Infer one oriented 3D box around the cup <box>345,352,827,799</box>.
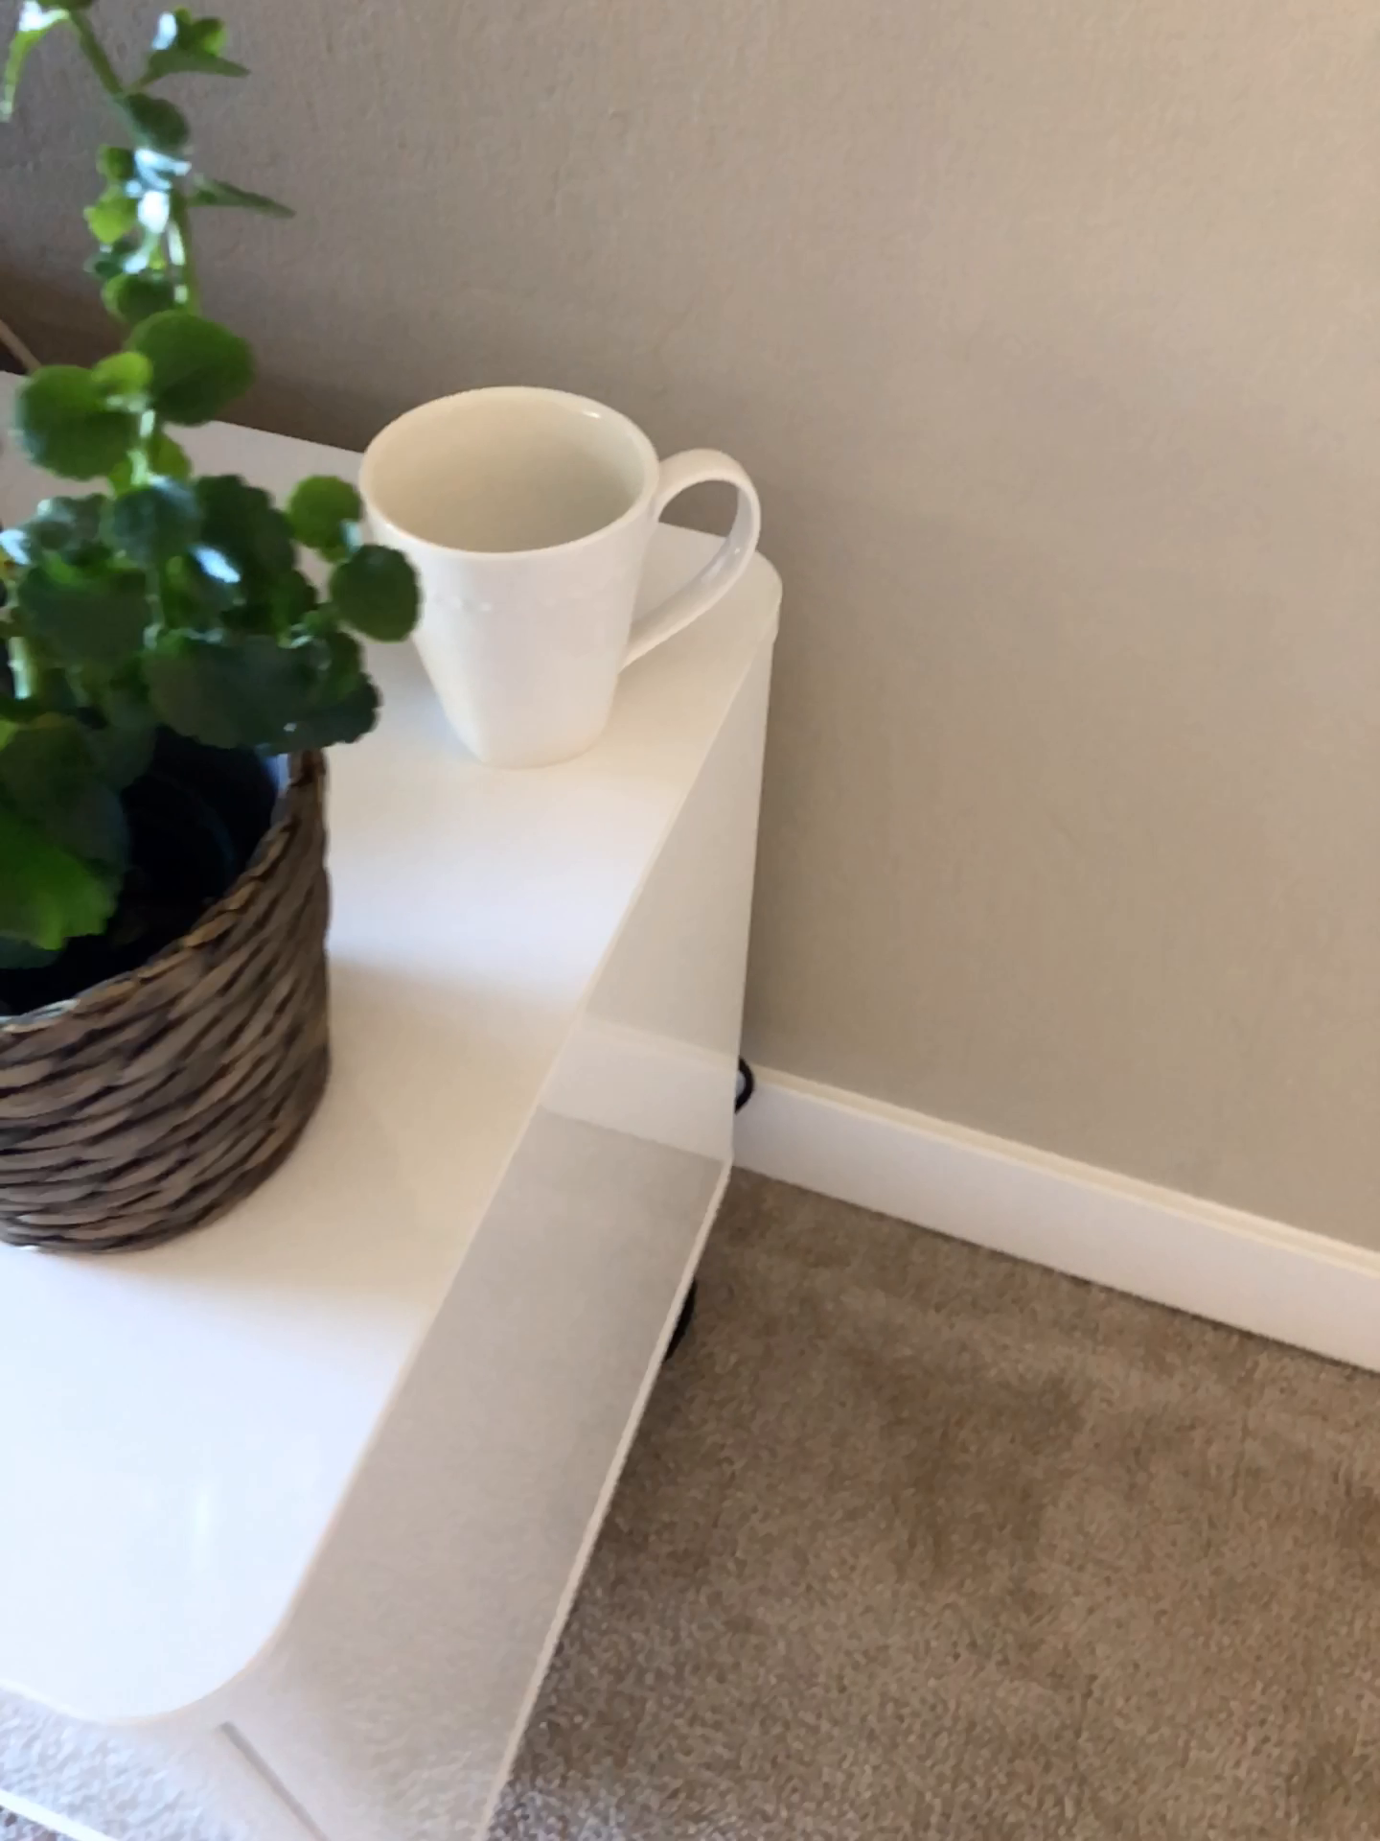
[{"bbox_3d":[-0.035,-0.116,0.509,0.130,0.090,0.090,-13,51,-13],"label":"cup"}]
